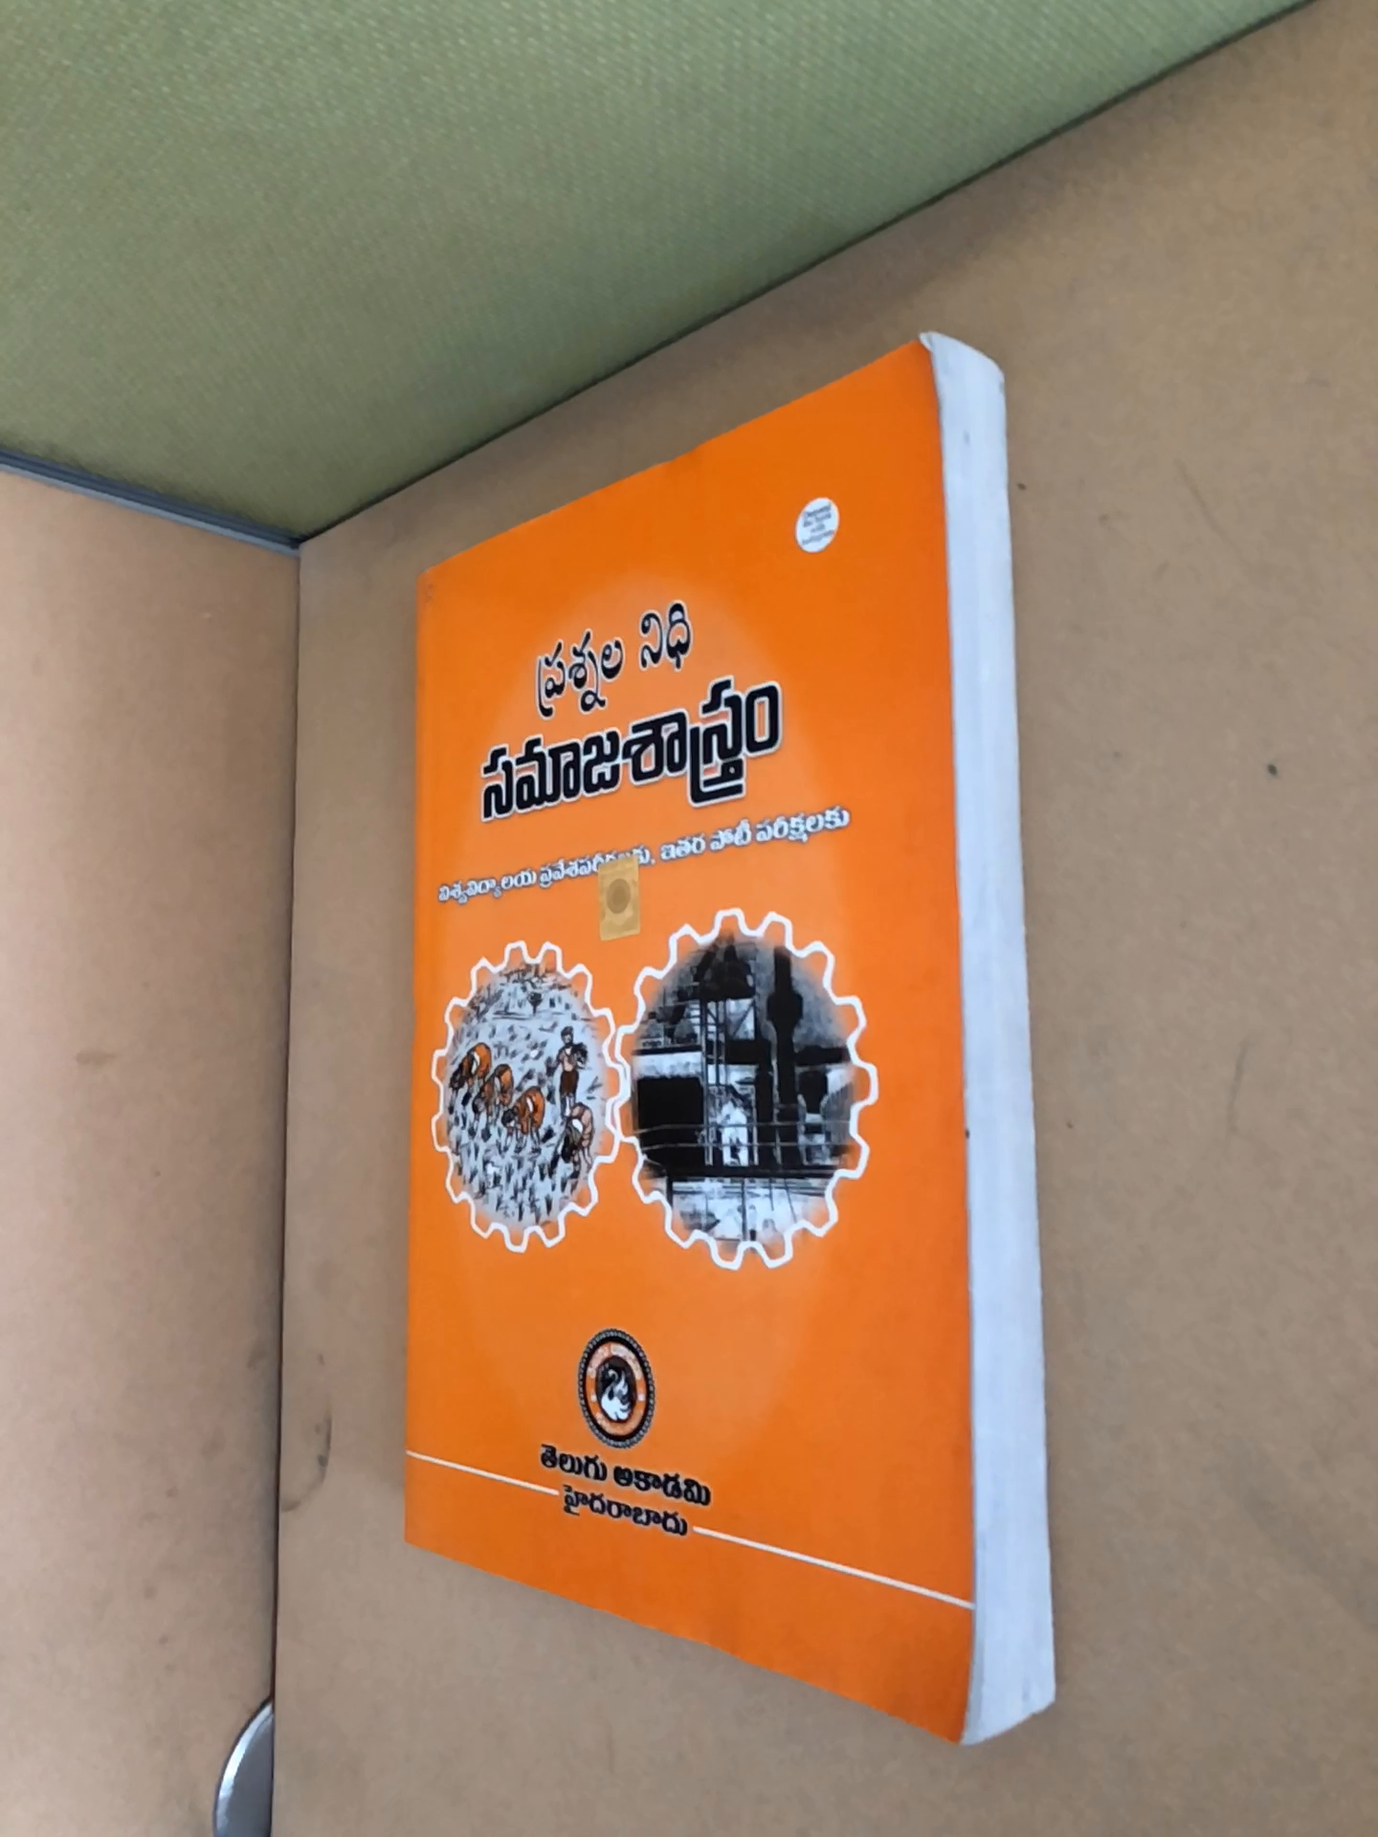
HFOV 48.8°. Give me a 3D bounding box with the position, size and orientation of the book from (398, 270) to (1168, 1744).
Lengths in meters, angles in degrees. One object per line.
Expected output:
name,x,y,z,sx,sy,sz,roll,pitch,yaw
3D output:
book,0.007,0.020,0.391,0.211,0.050,0.290,-9,78,46
